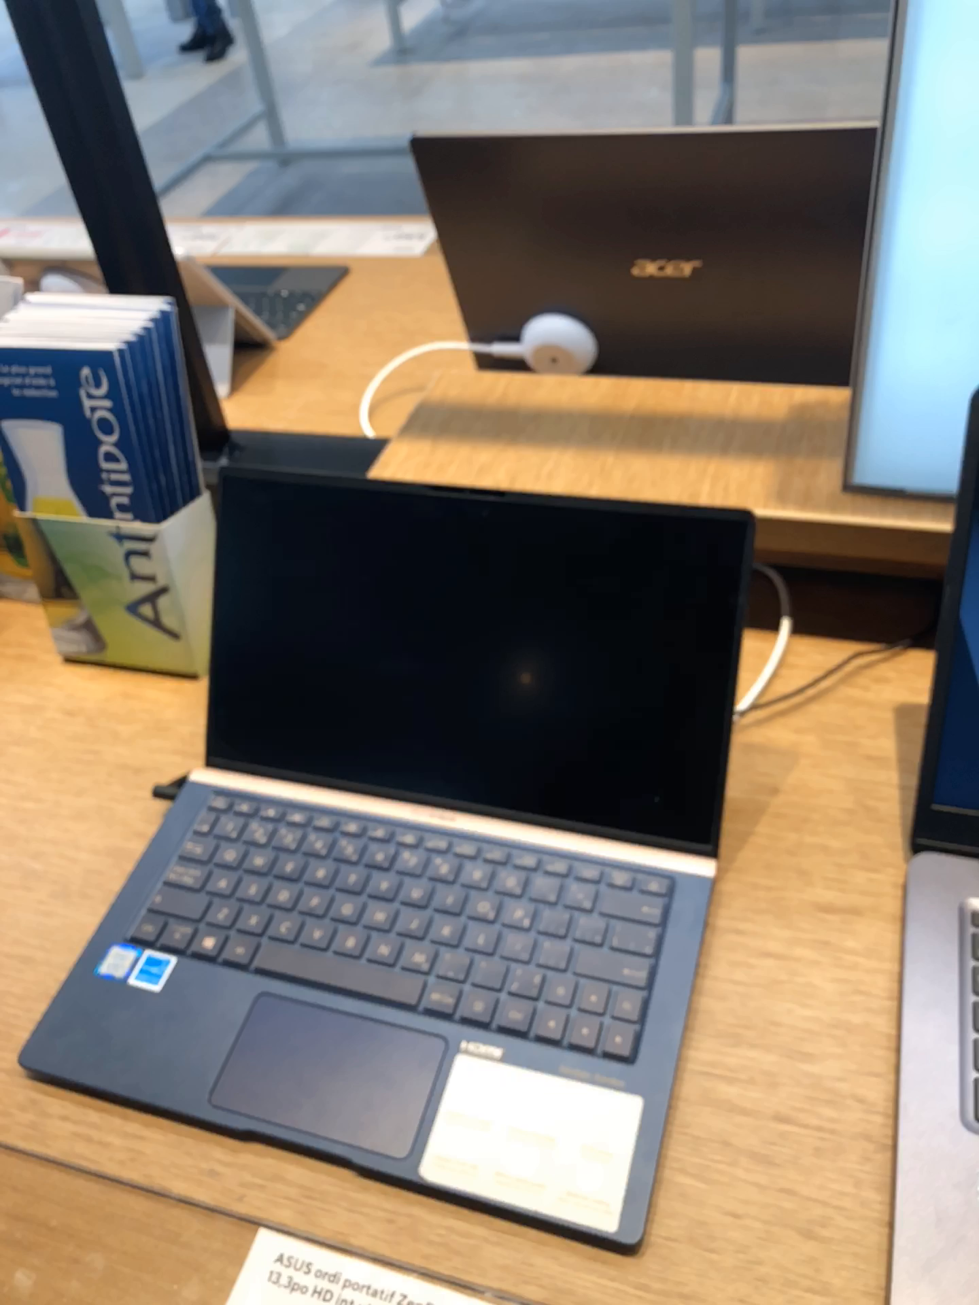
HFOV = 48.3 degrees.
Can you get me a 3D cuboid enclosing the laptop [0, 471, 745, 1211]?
[{"bbox_3d":[-0.048,0.059,0.515,0.276,0.130,0.277,7,47,19],"label":"laptop"}]
